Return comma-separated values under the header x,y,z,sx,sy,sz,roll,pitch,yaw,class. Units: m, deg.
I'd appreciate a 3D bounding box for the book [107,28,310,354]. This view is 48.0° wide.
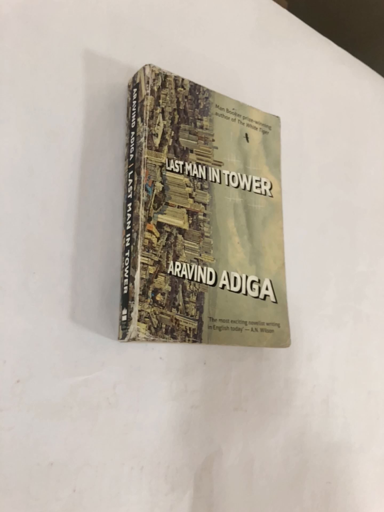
x,y,z,sx,sy,sz,roll,pitch,yaw,class
0.017,-0.040,0.325,0.150,0.030,0.220,8,73,-32,book
